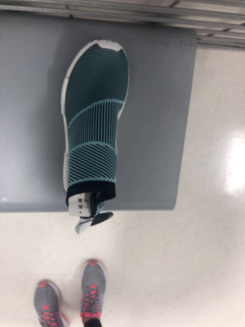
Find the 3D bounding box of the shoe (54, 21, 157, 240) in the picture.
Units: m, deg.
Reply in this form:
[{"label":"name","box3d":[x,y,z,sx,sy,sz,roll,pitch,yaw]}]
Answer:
[{"label":"shoe","box3d":[-0.039,-0.043,0.441,0.120,0.130,0.301,3,109,-9]}]
